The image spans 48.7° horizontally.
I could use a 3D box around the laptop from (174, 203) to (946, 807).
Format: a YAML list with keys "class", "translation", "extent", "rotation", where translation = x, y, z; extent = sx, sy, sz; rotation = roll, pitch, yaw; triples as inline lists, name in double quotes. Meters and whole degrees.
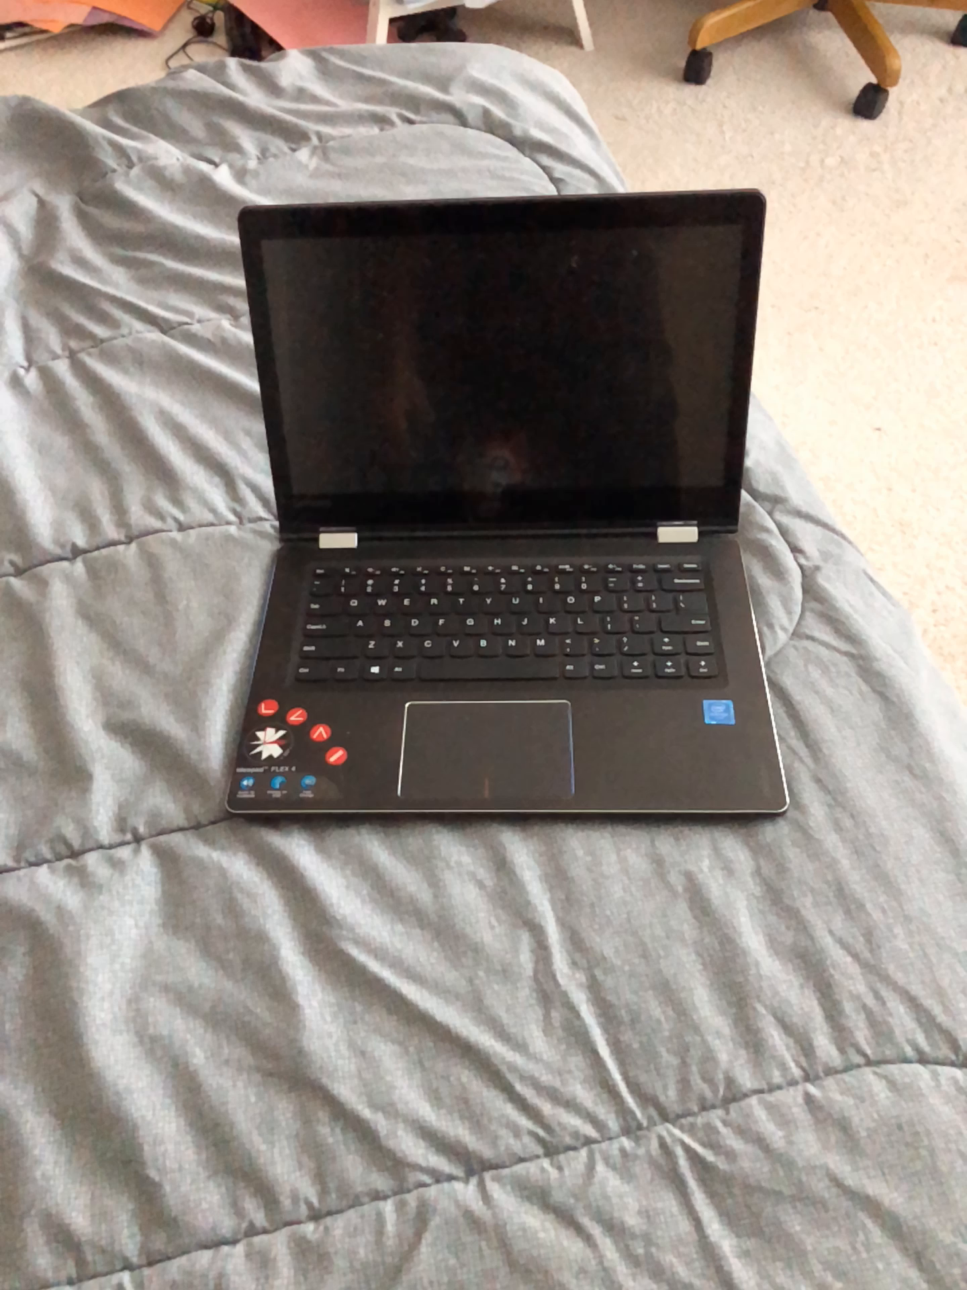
- class: "laptop"
  translation: [0.042, -0.098, 0.698]
  extent: [0.361, 0.214, 0.352]
  rotation: [0, 53, 2]
